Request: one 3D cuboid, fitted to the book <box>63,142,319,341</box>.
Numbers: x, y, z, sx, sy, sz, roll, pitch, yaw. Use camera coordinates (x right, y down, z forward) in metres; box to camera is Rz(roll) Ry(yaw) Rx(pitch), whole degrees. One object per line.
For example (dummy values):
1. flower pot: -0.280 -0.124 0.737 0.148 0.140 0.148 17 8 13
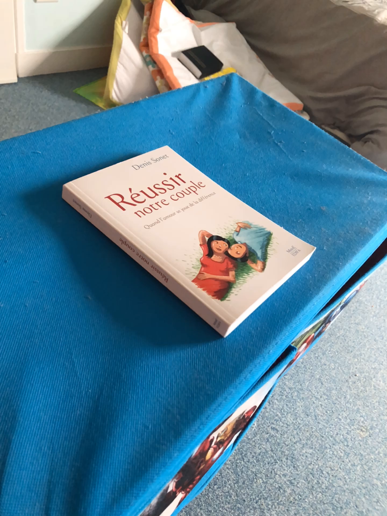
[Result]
1. book: 0.001 -0.030 0.374 0.186 0.016 0.135 40 47 19
